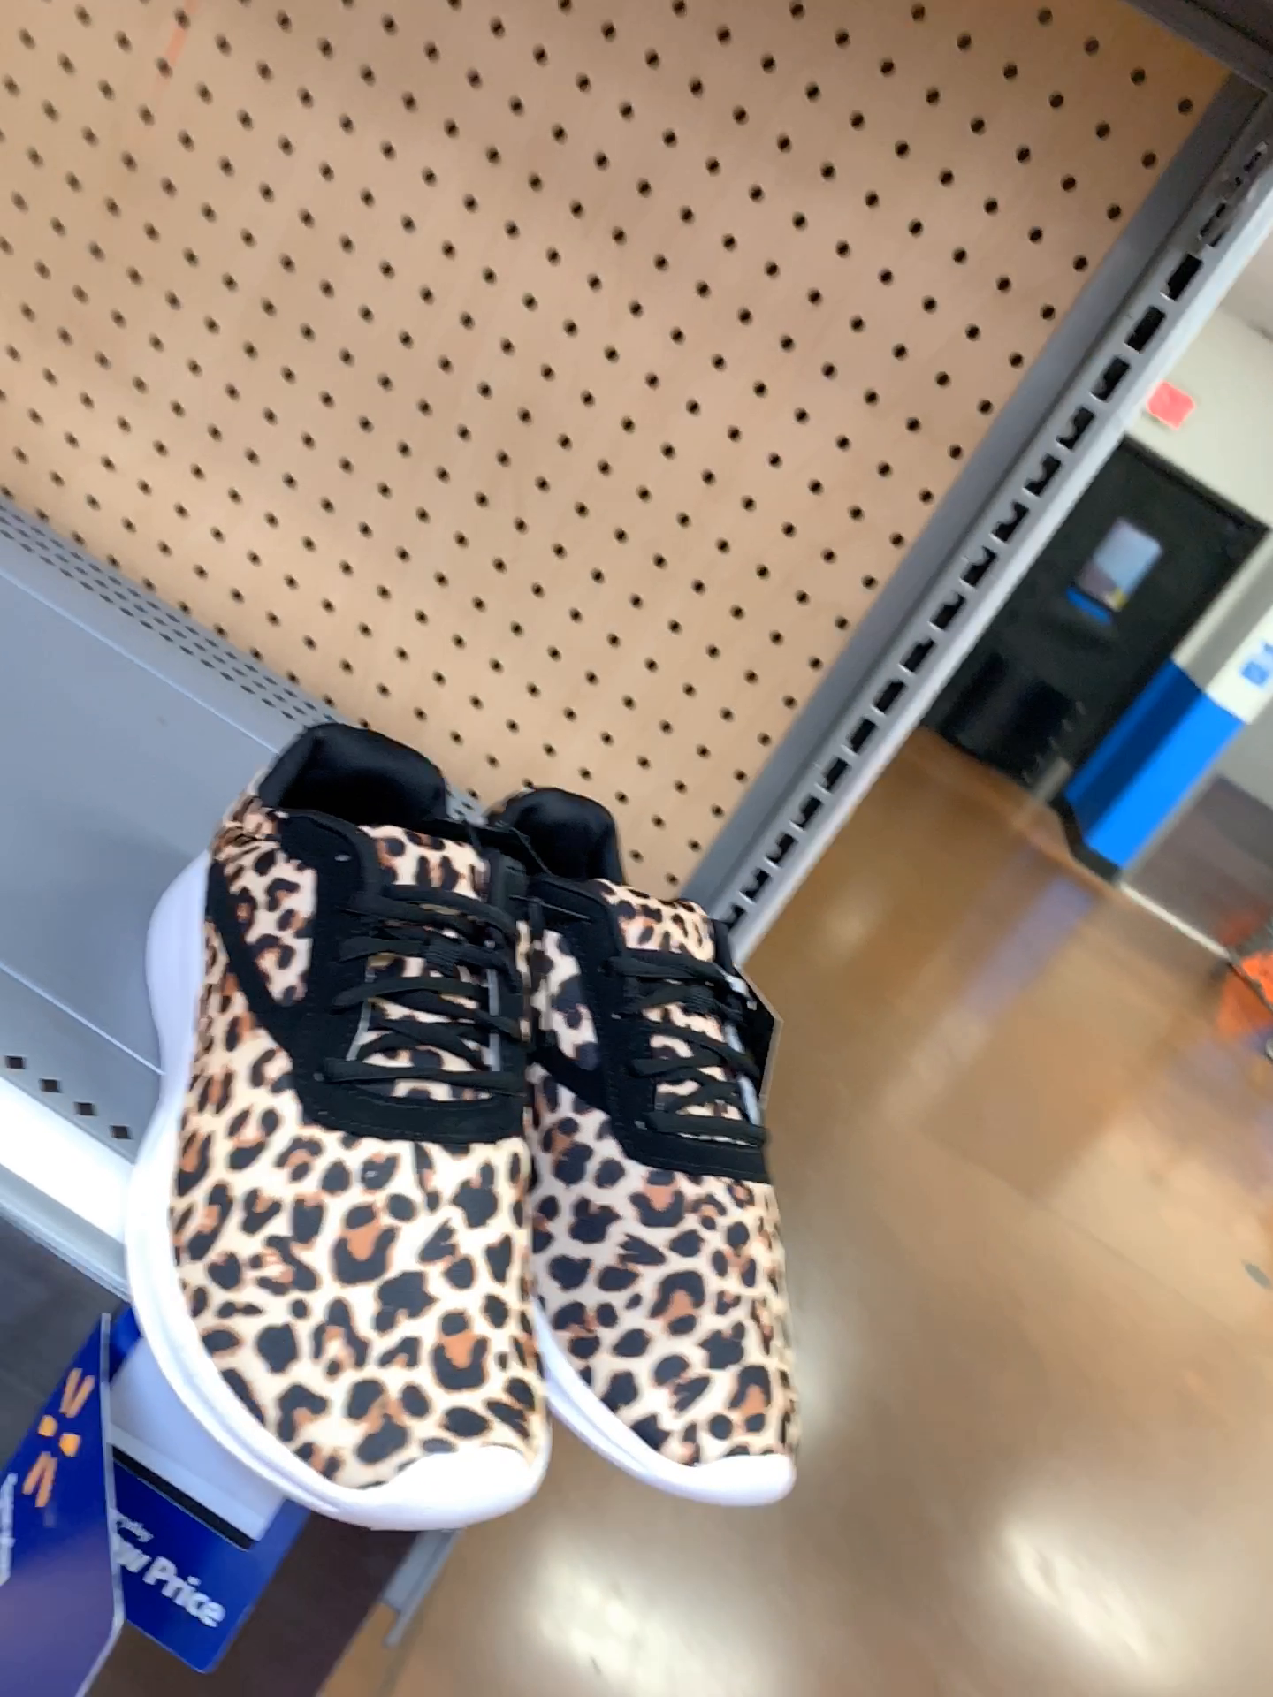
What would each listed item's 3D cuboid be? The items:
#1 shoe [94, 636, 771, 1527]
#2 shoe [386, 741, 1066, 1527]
[{"bbox_3d":[-0.076,0.052,0.378,0.120,0.091,0.241,19,26,-31],"label":"shoe"},{"bbox_3d":[0.011,0.080,0.437,0.110,0.091,0.241,17,28,-34],"label":"shoe"}]
